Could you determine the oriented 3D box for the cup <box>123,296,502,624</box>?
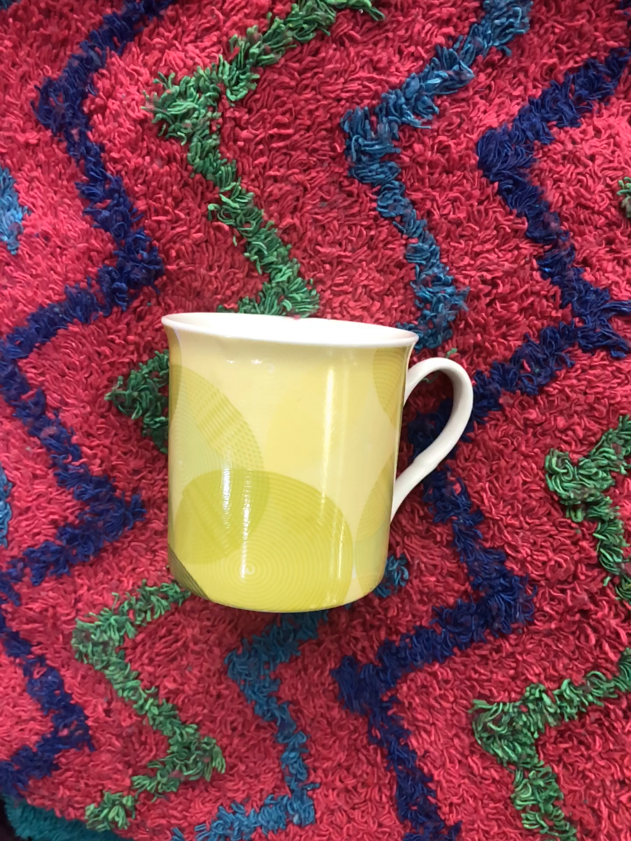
[{"bbox_3d":[-0.008,0.005,0.248,0.110,0.080,0.090,-2,103,-17],"label":"cup"}]
